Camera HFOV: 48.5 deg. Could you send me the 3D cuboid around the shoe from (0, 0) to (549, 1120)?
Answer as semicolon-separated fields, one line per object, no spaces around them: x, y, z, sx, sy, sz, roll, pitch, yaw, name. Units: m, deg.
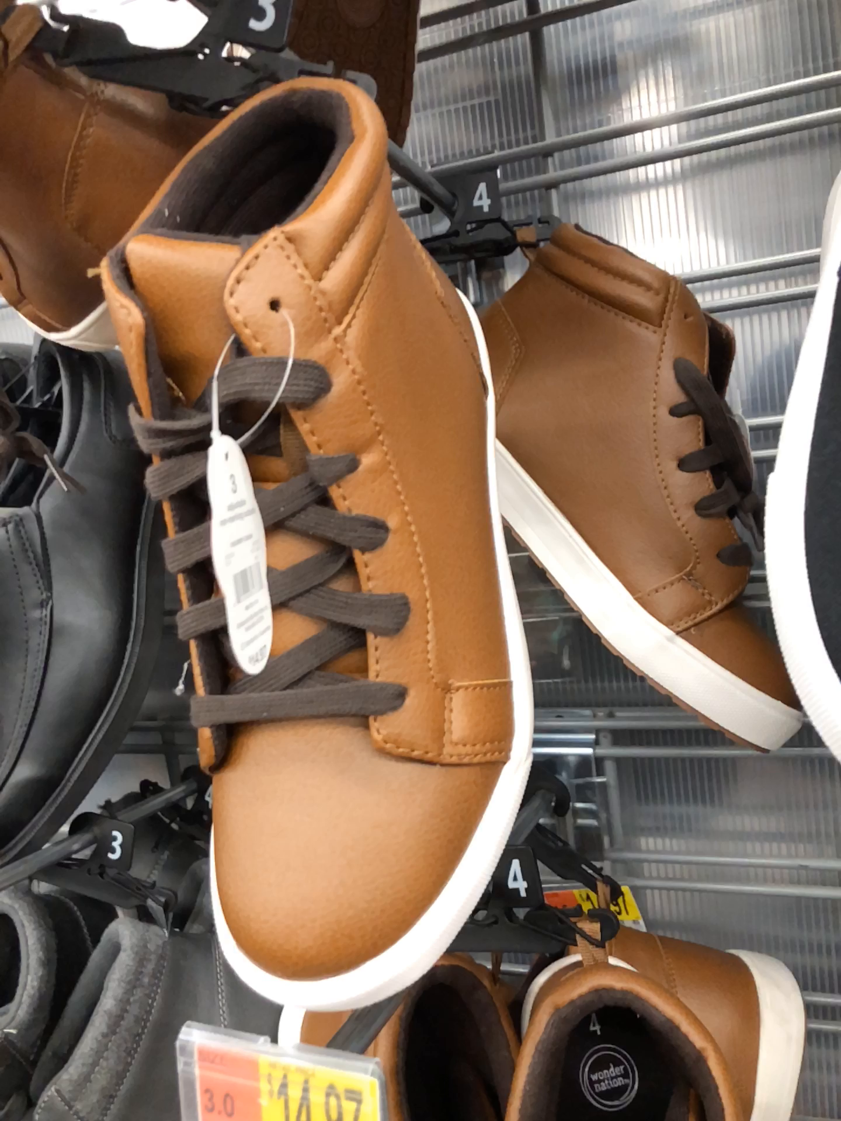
-0.030;0.000;0.245;0.096;0.227;0.110;-5;-14;17;shoe
